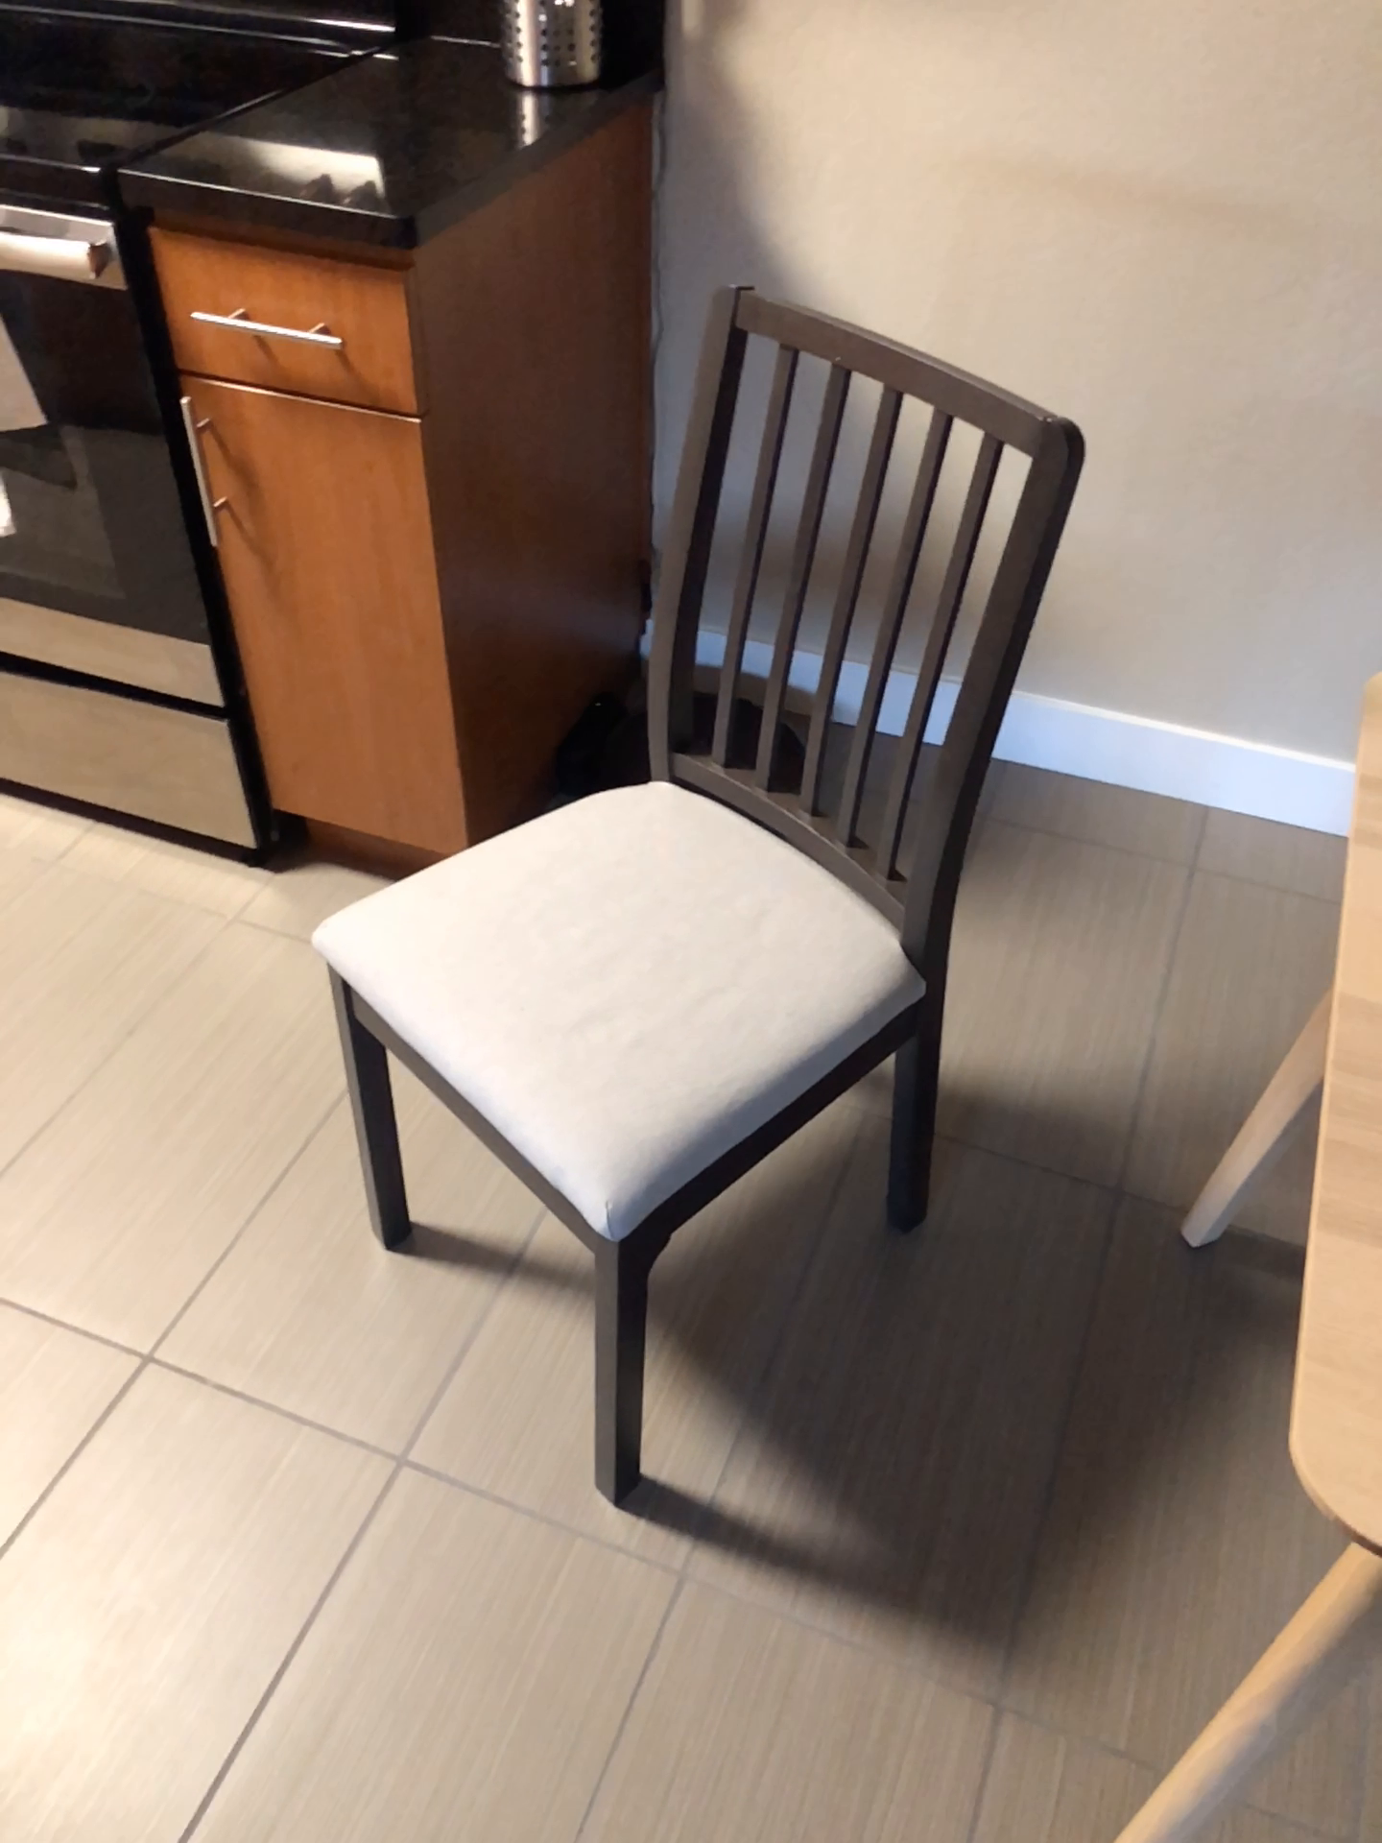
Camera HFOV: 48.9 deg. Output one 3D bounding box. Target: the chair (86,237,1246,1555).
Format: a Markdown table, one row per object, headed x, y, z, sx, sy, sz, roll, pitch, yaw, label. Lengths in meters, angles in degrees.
| x | y | z | sx | sy | sz | roll | pitch | yaw | label |
| --- | --- | --- | --- | --- | --- | --- | --- | --- | --- |
| -0.030 | -0.036 | 1.363 | 0.591 | 0.846 | 0.582 | -30 | 50 | -31 | chair |
